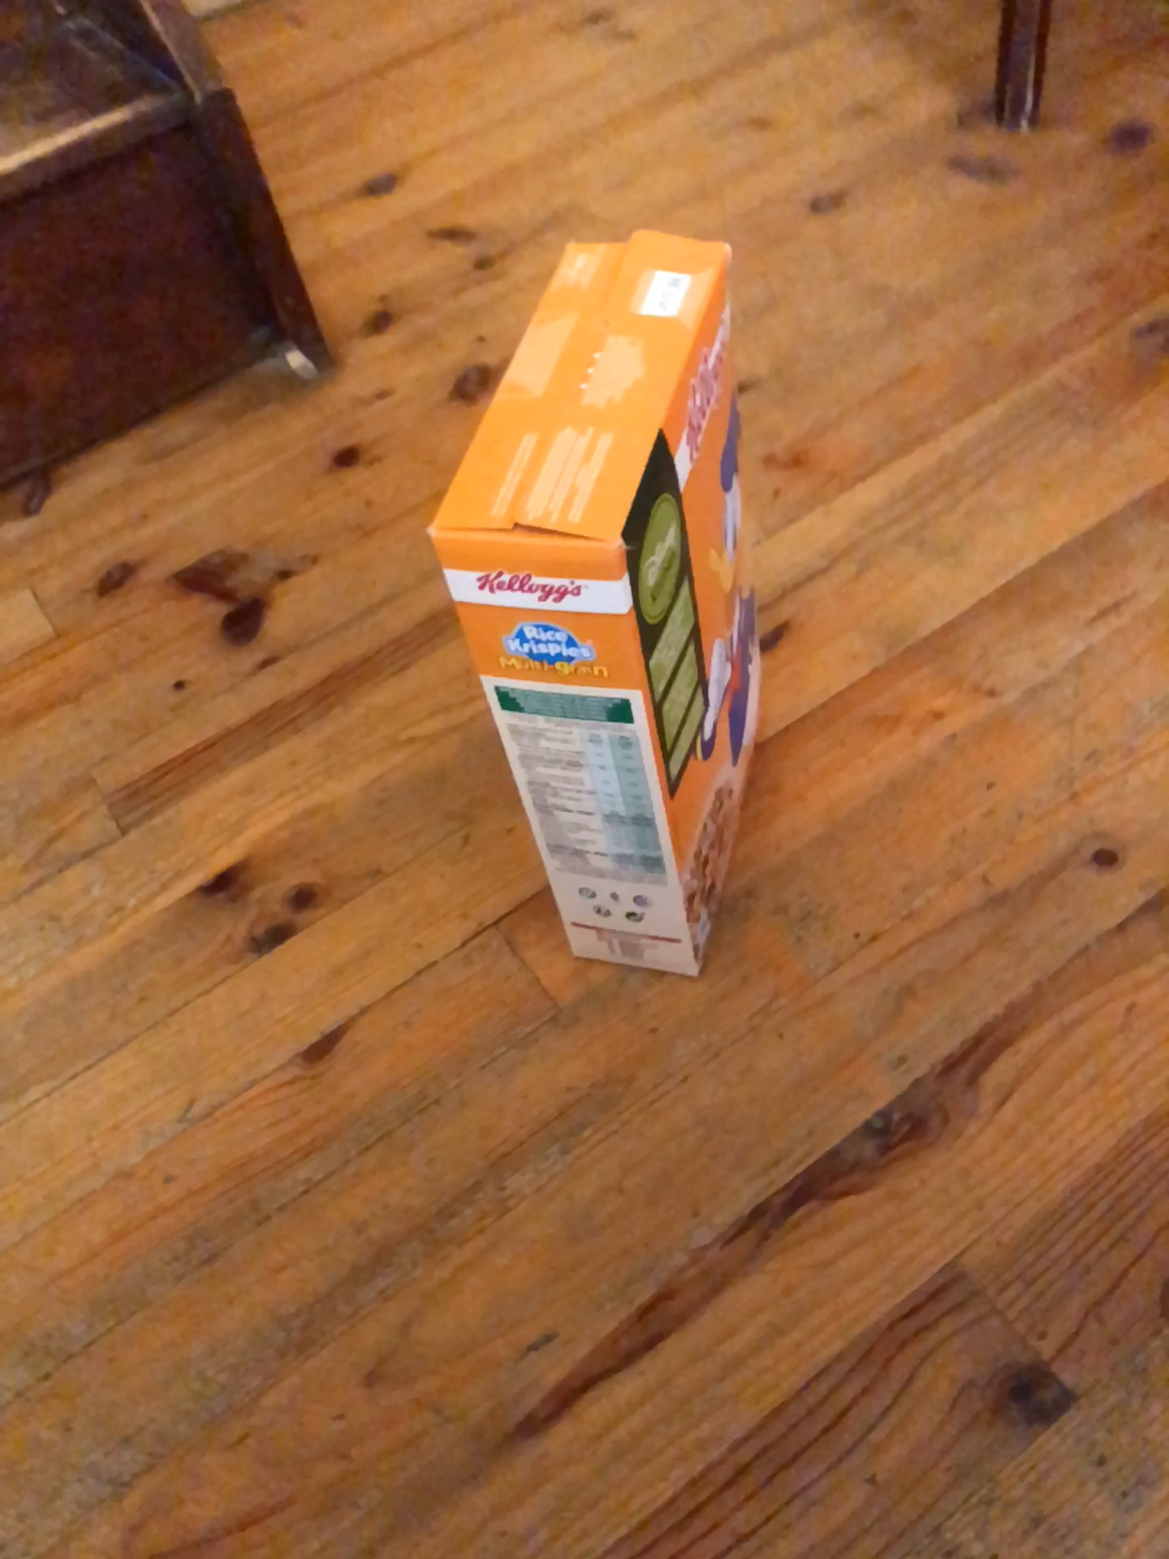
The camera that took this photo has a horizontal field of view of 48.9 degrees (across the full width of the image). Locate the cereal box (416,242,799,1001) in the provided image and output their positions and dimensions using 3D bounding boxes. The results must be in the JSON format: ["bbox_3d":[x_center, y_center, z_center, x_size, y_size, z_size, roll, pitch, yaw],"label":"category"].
[{"bbox_3d":[0.035,-0.062,0.615,0.090,0.298,0.201,6,53,17],"label":"cereal box"}]
